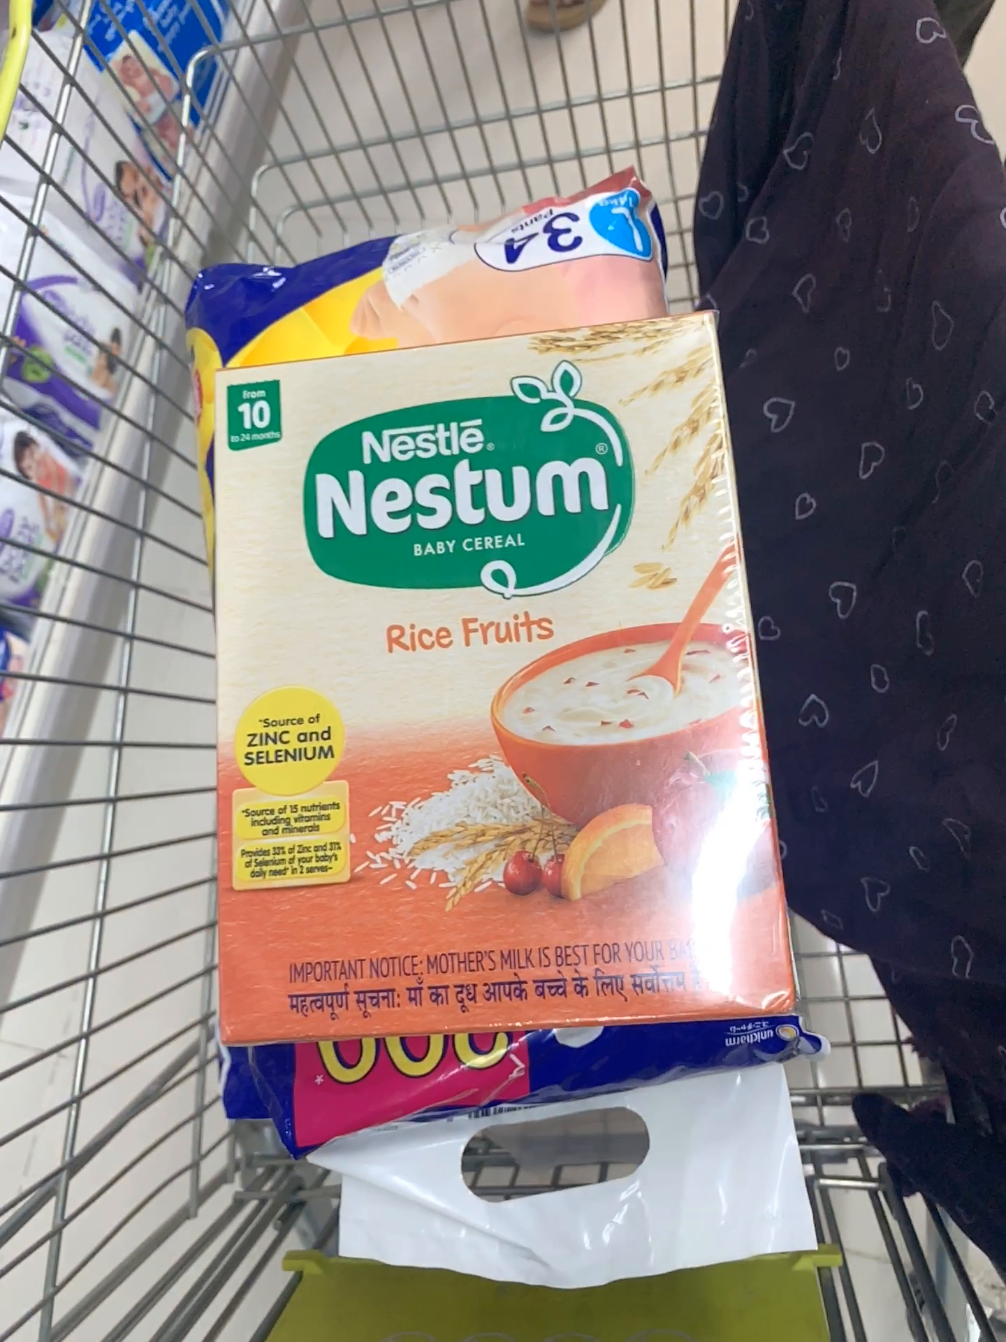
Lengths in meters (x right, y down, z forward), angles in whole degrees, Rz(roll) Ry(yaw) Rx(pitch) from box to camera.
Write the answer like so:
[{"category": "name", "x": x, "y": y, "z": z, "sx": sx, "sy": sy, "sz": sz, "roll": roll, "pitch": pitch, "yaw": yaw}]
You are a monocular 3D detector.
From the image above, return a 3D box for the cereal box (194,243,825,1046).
[{"category": "cereal box", "x": -0.004, "y": -0.007, "z": 0.308, "sx": 0.160, "sy": 0.050, "sz": 0.210, "roll": -5, "pitch": 79, "yaw": 7}]
